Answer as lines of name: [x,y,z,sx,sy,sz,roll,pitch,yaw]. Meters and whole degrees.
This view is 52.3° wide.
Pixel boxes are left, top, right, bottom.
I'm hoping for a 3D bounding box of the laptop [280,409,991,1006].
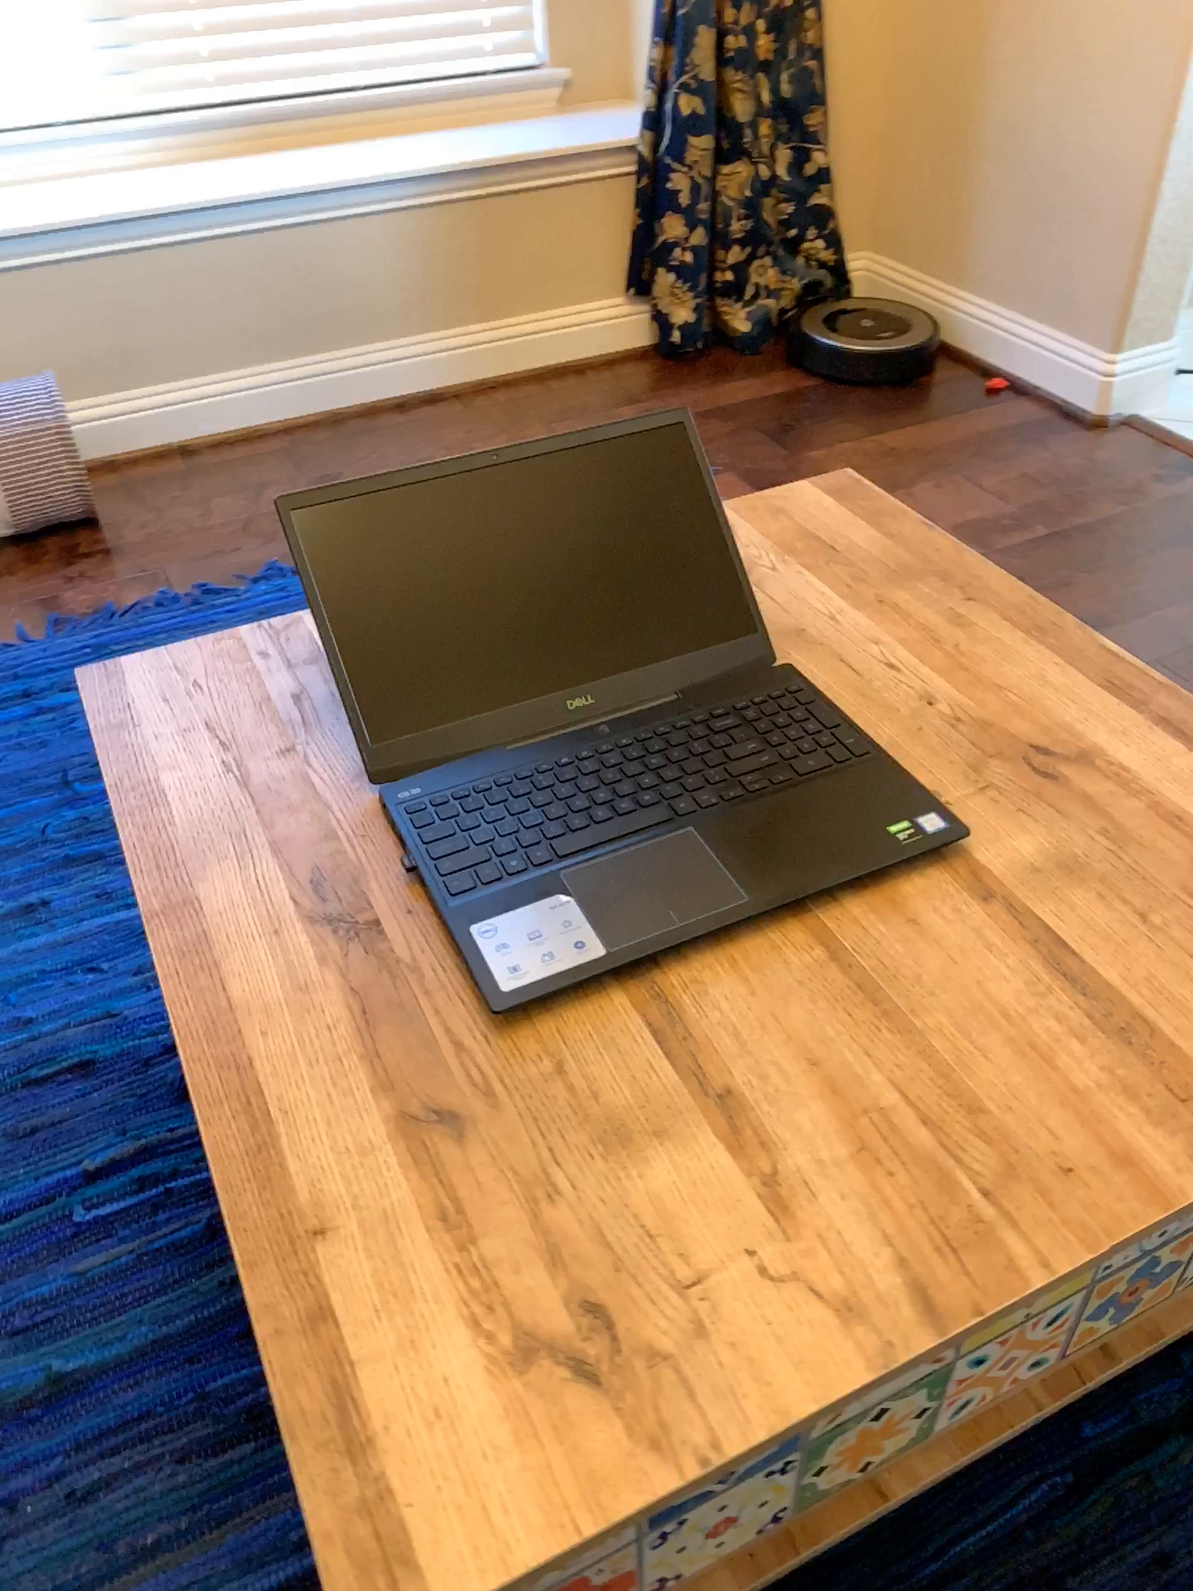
laptop: [0.001,-0.102,0.896,0.346,0.156,0.420,-18,42,-17]
